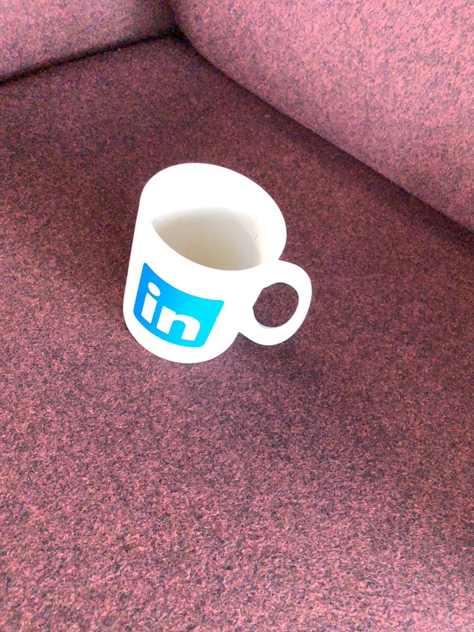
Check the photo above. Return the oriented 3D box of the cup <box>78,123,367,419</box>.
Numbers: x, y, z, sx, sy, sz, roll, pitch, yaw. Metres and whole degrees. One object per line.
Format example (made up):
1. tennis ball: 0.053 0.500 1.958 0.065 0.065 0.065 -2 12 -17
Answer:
1. cup: -0.012 -0.026 0.283 0.120 0.089 0.090 32 52 7
